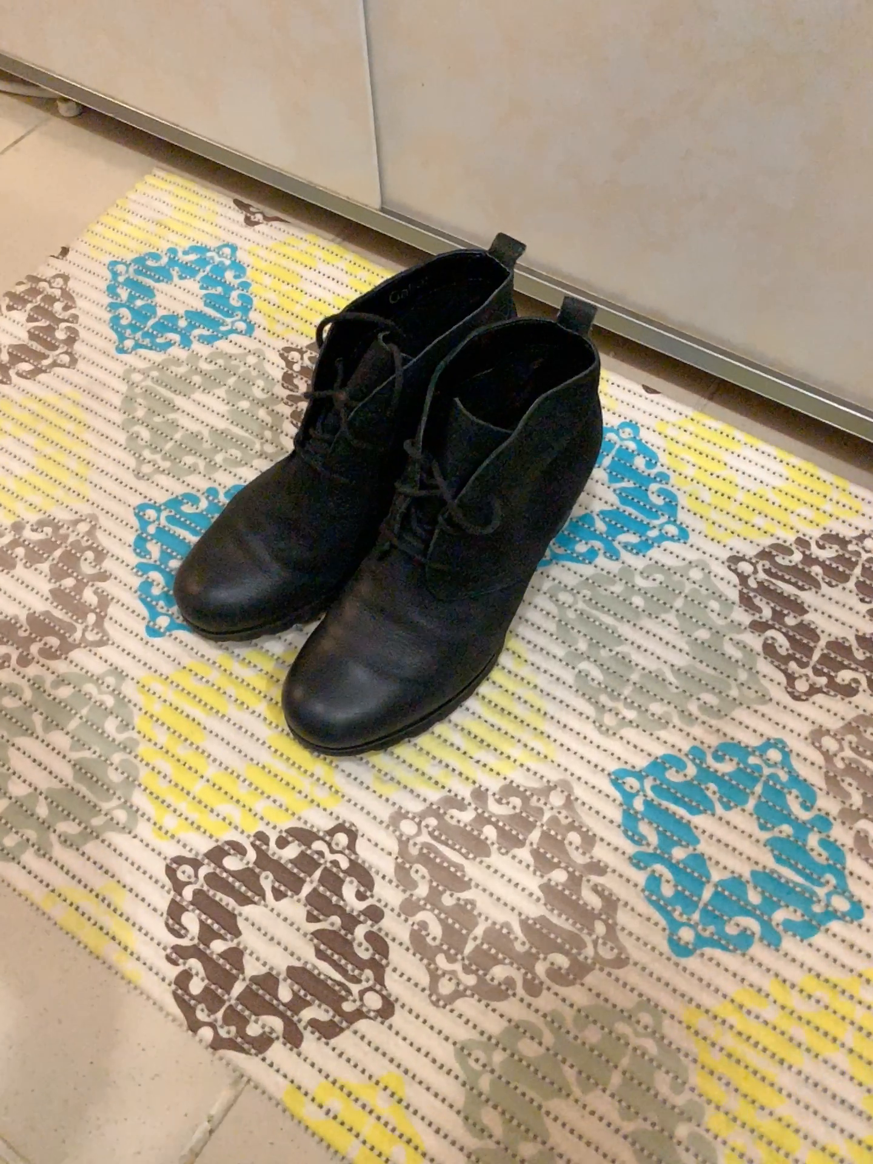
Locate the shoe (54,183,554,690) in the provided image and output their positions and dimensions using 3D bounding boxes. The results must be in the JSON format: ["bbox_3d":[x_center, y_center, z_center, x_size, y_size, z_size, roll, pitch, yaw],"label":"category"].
[{"bbox_3d":[-0.055,-0.075,0.483,0.230,0.150,0.090,-41,68,-19],"label":"shoe"}]

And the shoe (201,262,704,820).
[{"bbox_3d":[0.016,-0.017,0.447,0.090,0.150,0.230,36,68,19],"label":"shoe"}]
